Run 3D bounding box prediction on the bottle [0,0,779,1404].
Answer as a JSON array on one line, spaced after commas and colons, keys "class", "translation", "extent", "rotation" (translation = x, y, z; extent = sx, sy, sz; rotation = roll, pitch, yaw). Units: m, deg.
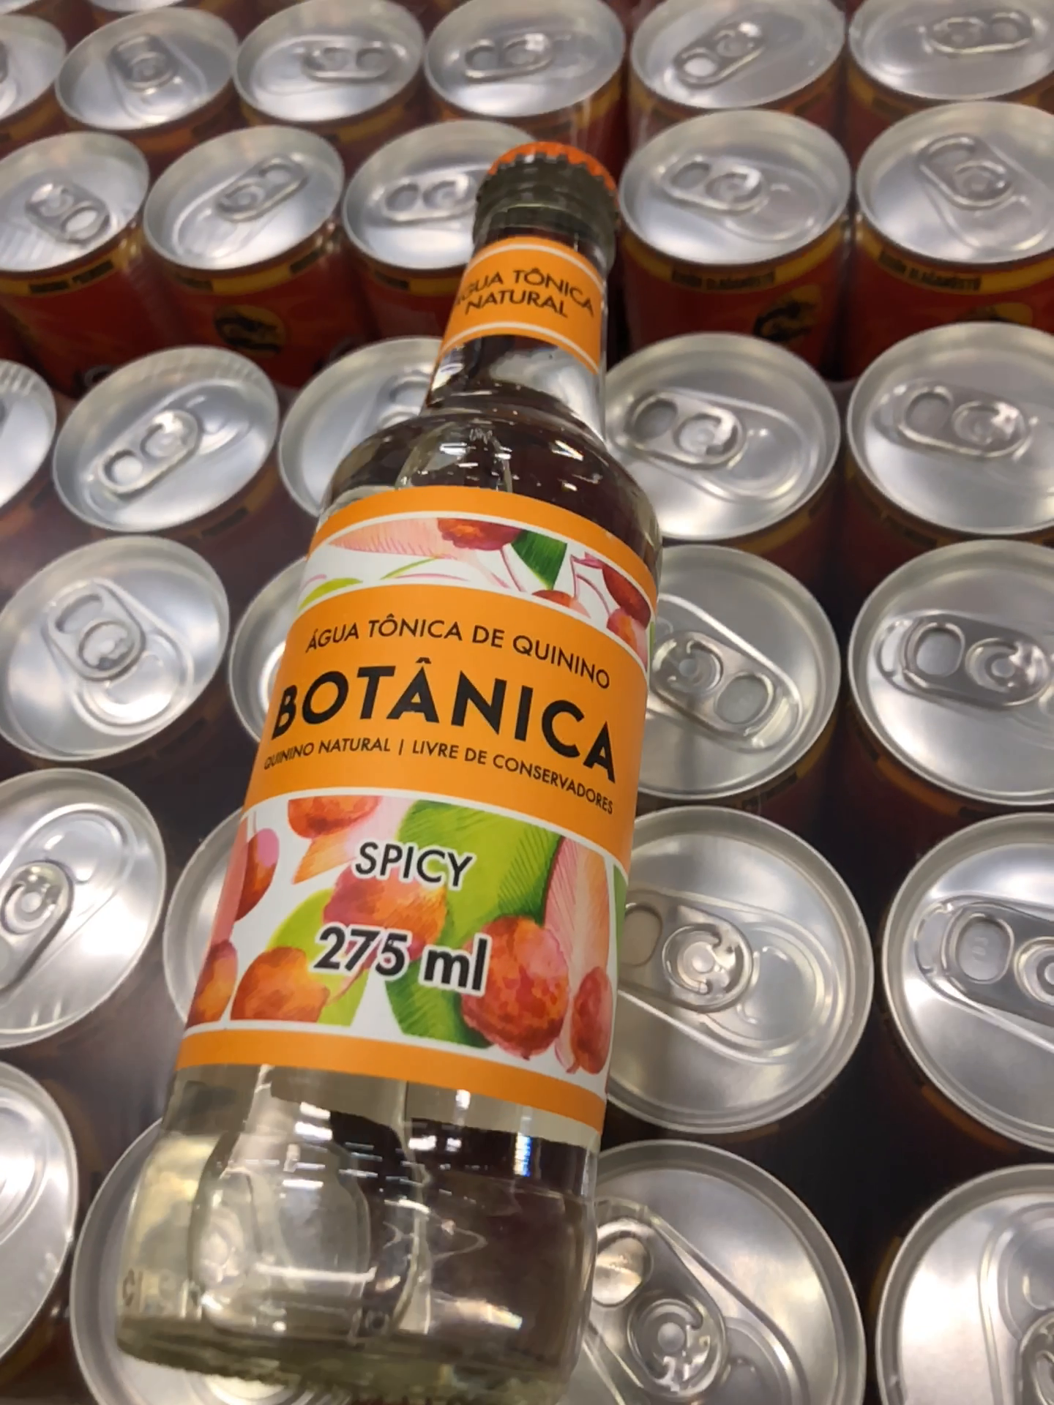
[{"class": "bottle", "translation": [-0.004, -0.016, 0.173], "extent": [0.070, 0.050, 0.211], "rotation": [3, 66, 10]}]
